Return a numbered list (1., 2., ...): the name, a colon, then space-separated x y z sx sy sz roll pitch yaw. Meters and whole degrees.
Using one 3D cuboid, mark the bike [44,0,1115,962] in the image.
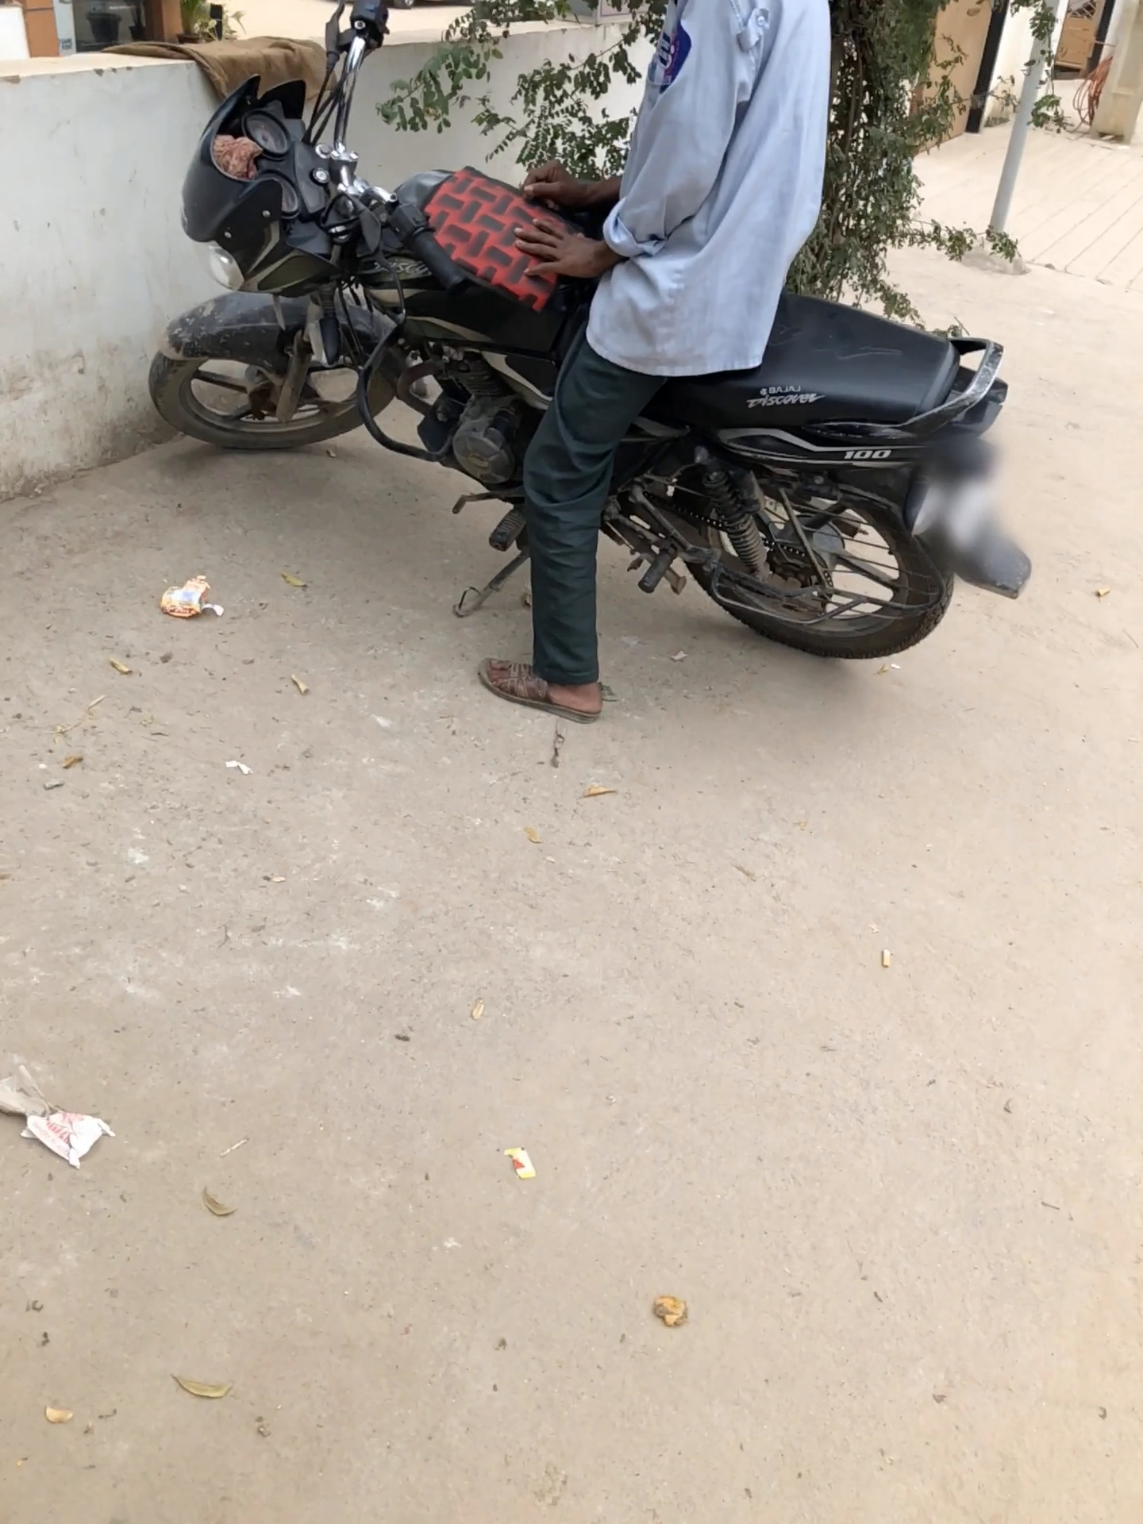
1. bike: 0.000 -0.648 2.291 1.497 1.332 0.791 17 36 15
